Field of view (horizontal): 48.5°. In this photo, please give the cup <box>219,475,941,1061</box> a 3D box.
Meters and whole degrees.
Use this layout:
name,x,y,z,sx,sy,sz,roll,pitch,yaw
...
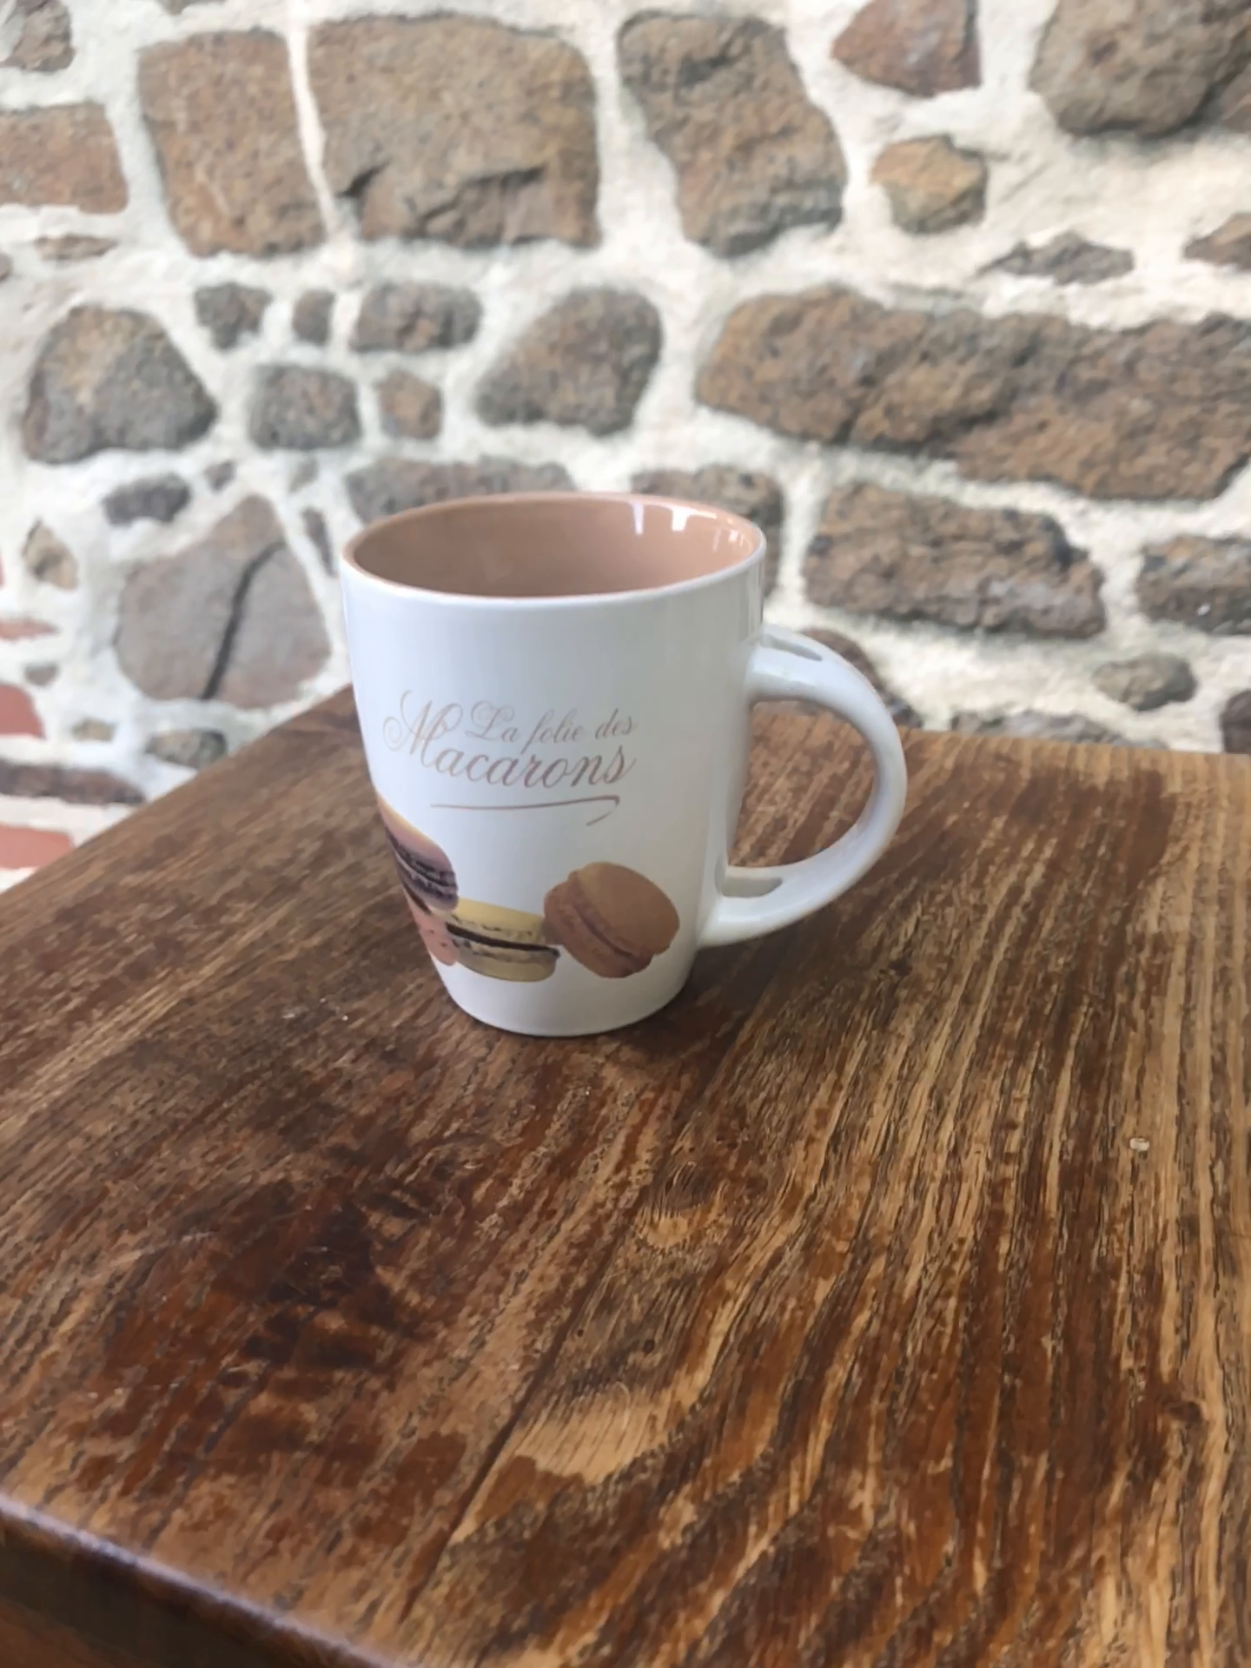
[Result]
name,x,y,z,sx,sy,sz,roll,pitch,yaw
cup,-0.001,-0.019,0.294,0.123,0.090,0.094,1,26,9
